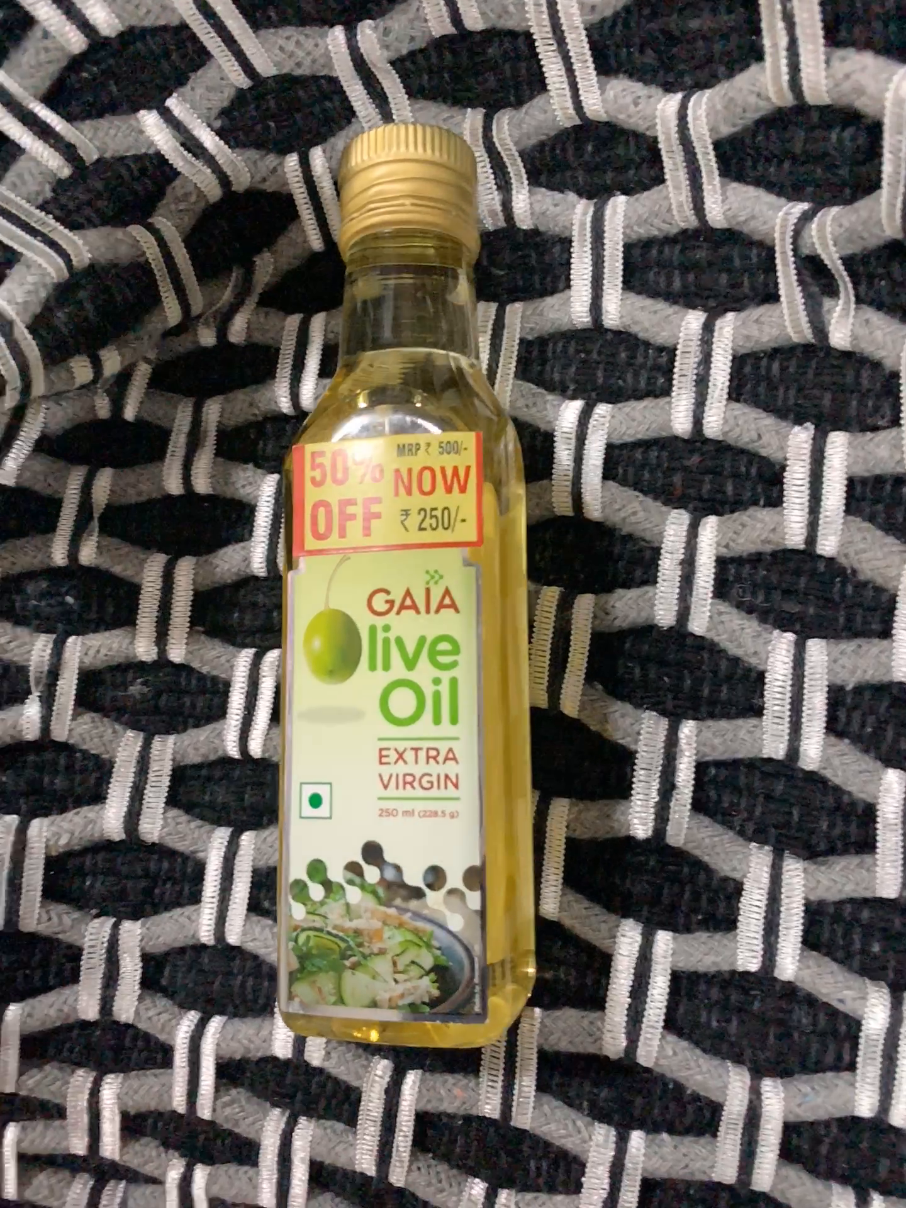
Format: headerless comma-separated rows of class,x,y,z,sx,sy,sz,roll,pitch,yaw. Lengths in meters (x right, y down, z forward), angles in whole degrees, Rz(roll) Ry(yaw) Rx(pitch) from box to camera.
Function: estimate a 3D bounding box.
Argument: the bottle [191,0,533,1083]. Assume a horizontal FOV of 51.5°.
bottle,-0.014,-0.016,0.188,0.050,0.050,0.190,-2,83,14
